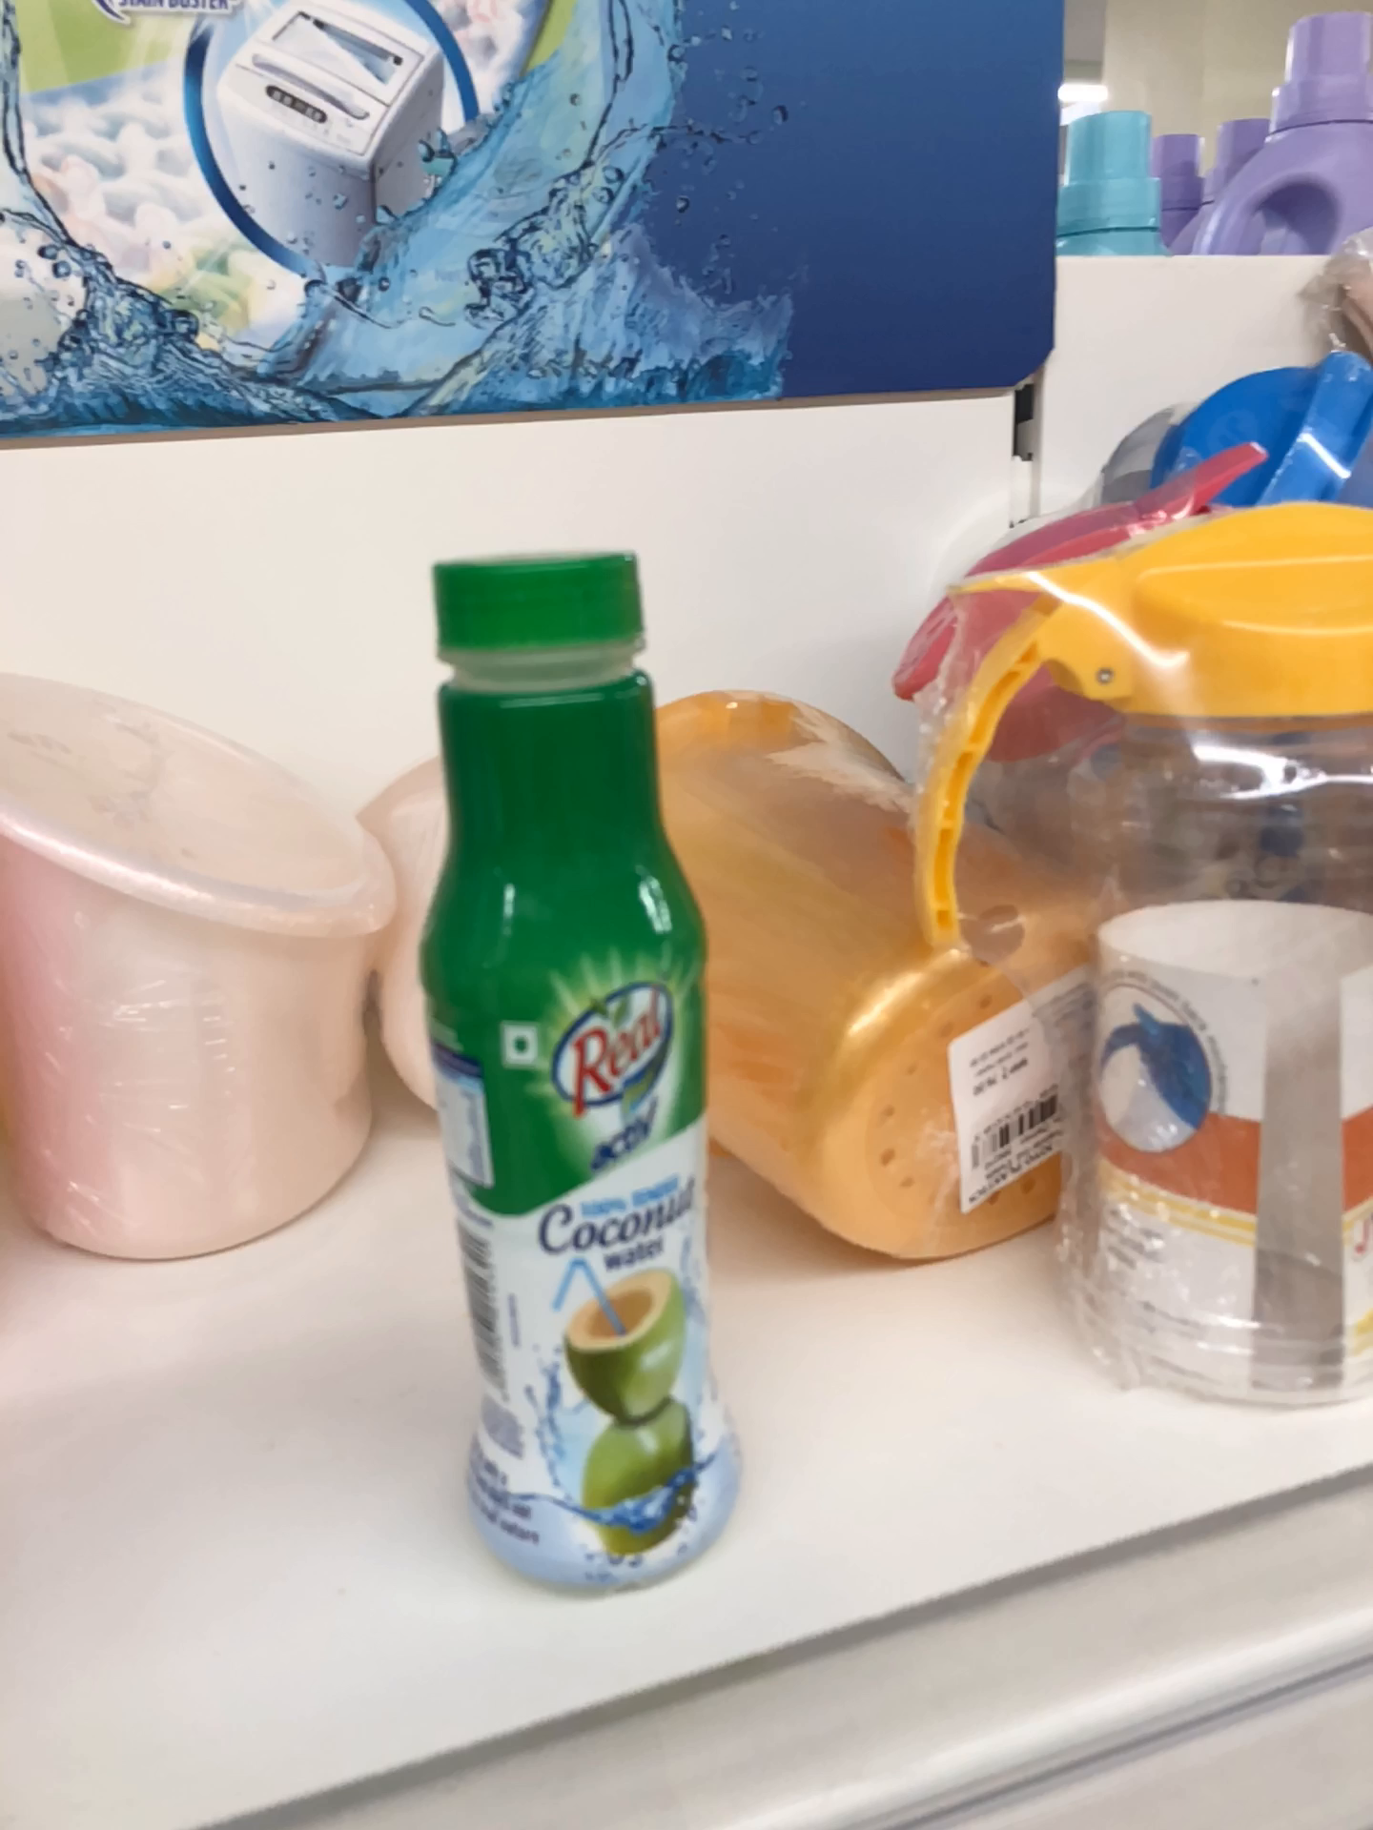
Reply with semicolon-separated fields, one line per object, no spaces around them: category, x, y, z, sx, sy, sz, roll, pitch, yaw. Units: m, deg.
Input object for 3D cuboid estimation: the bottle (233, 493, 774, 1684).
bottle;-0.028;0.025;0.253;0.060;0.179;0.060;-2;18;1
